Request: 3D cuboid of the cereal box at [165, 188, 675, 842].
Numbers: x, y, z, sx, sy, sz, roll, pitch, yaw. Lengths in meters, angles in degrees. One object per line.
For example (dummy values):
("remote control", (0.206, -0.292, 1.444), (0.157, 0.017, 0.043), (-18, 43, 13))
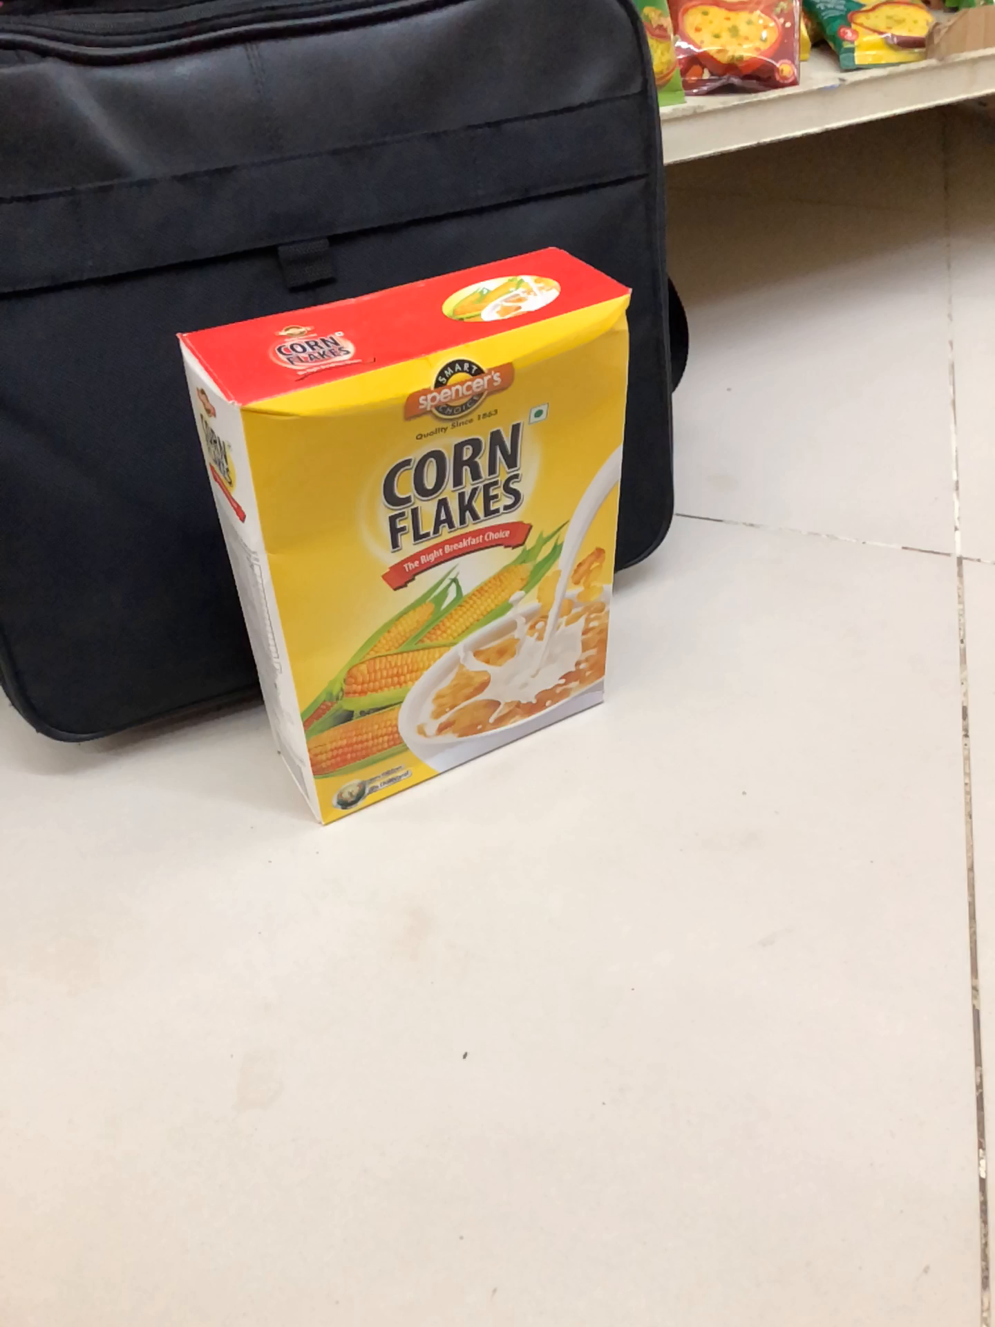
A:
("cereal box", (-0.025, -0.060, 0.526), (0.191, 0.268, 0.070), (-23, 48, -20))
